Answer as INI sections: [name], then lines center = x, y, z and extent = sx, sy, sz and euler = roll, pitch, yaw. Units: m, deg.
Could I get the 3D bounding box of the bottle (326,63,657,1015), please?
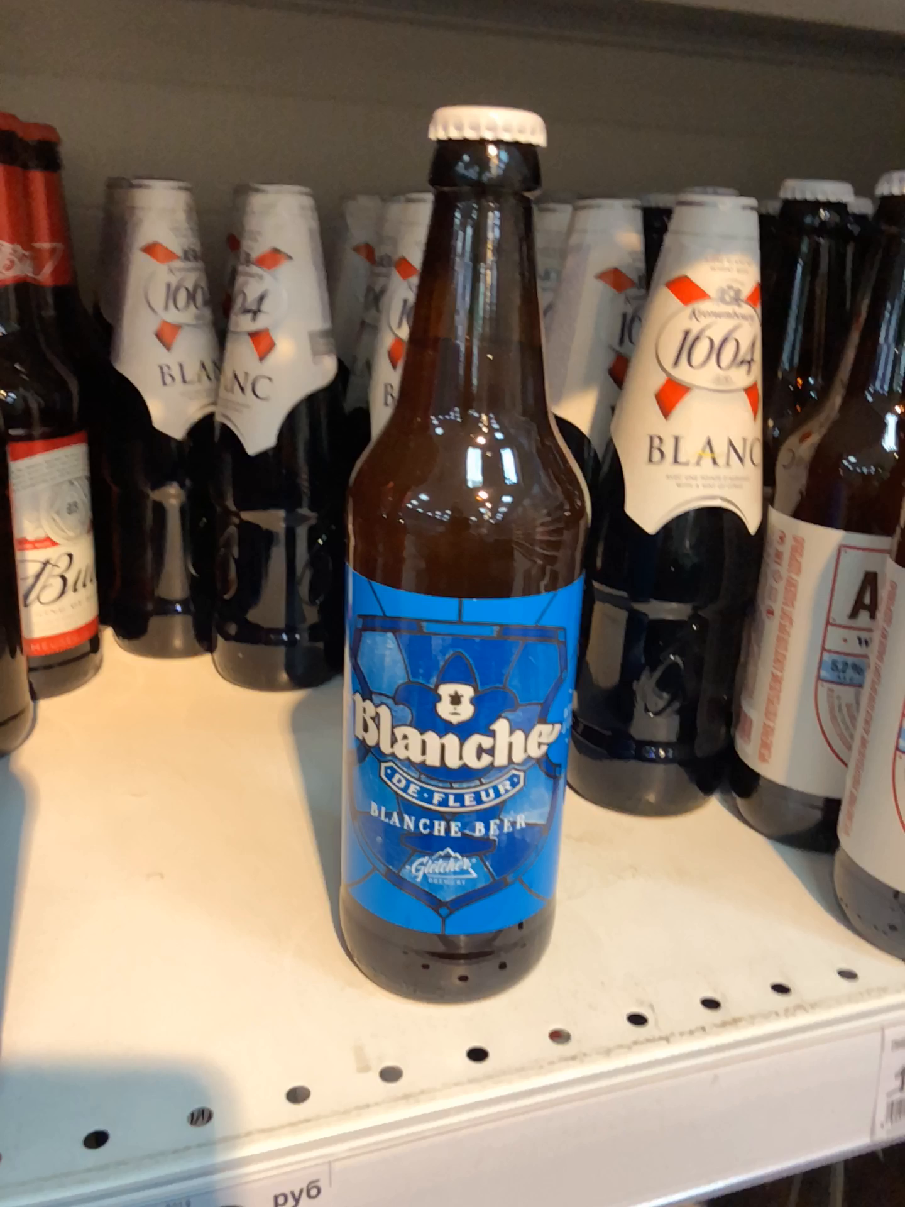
[bottle]
center = 0.001, -0.008, 0.284
extent = 0.070, 0.245, 0.070
euler = 2, 19, -1
